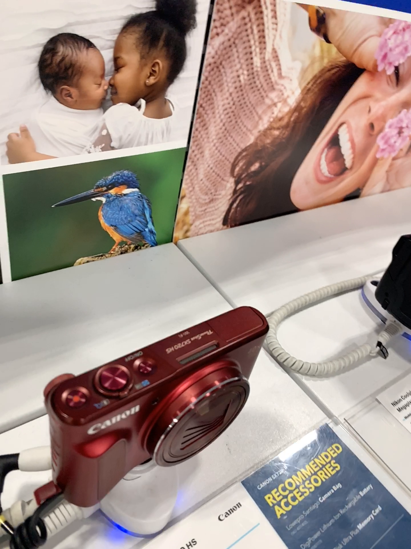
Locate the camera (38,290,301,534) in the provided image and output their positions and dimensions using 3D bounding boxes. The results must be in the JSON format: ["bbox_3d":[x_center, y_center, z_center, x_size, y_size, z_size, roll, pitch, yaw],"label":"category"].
[{"bbox_3d":[-0.014,0.057,0.197,0.110,0.060,0.037,-19,47,-36],"label":"camera"}]
